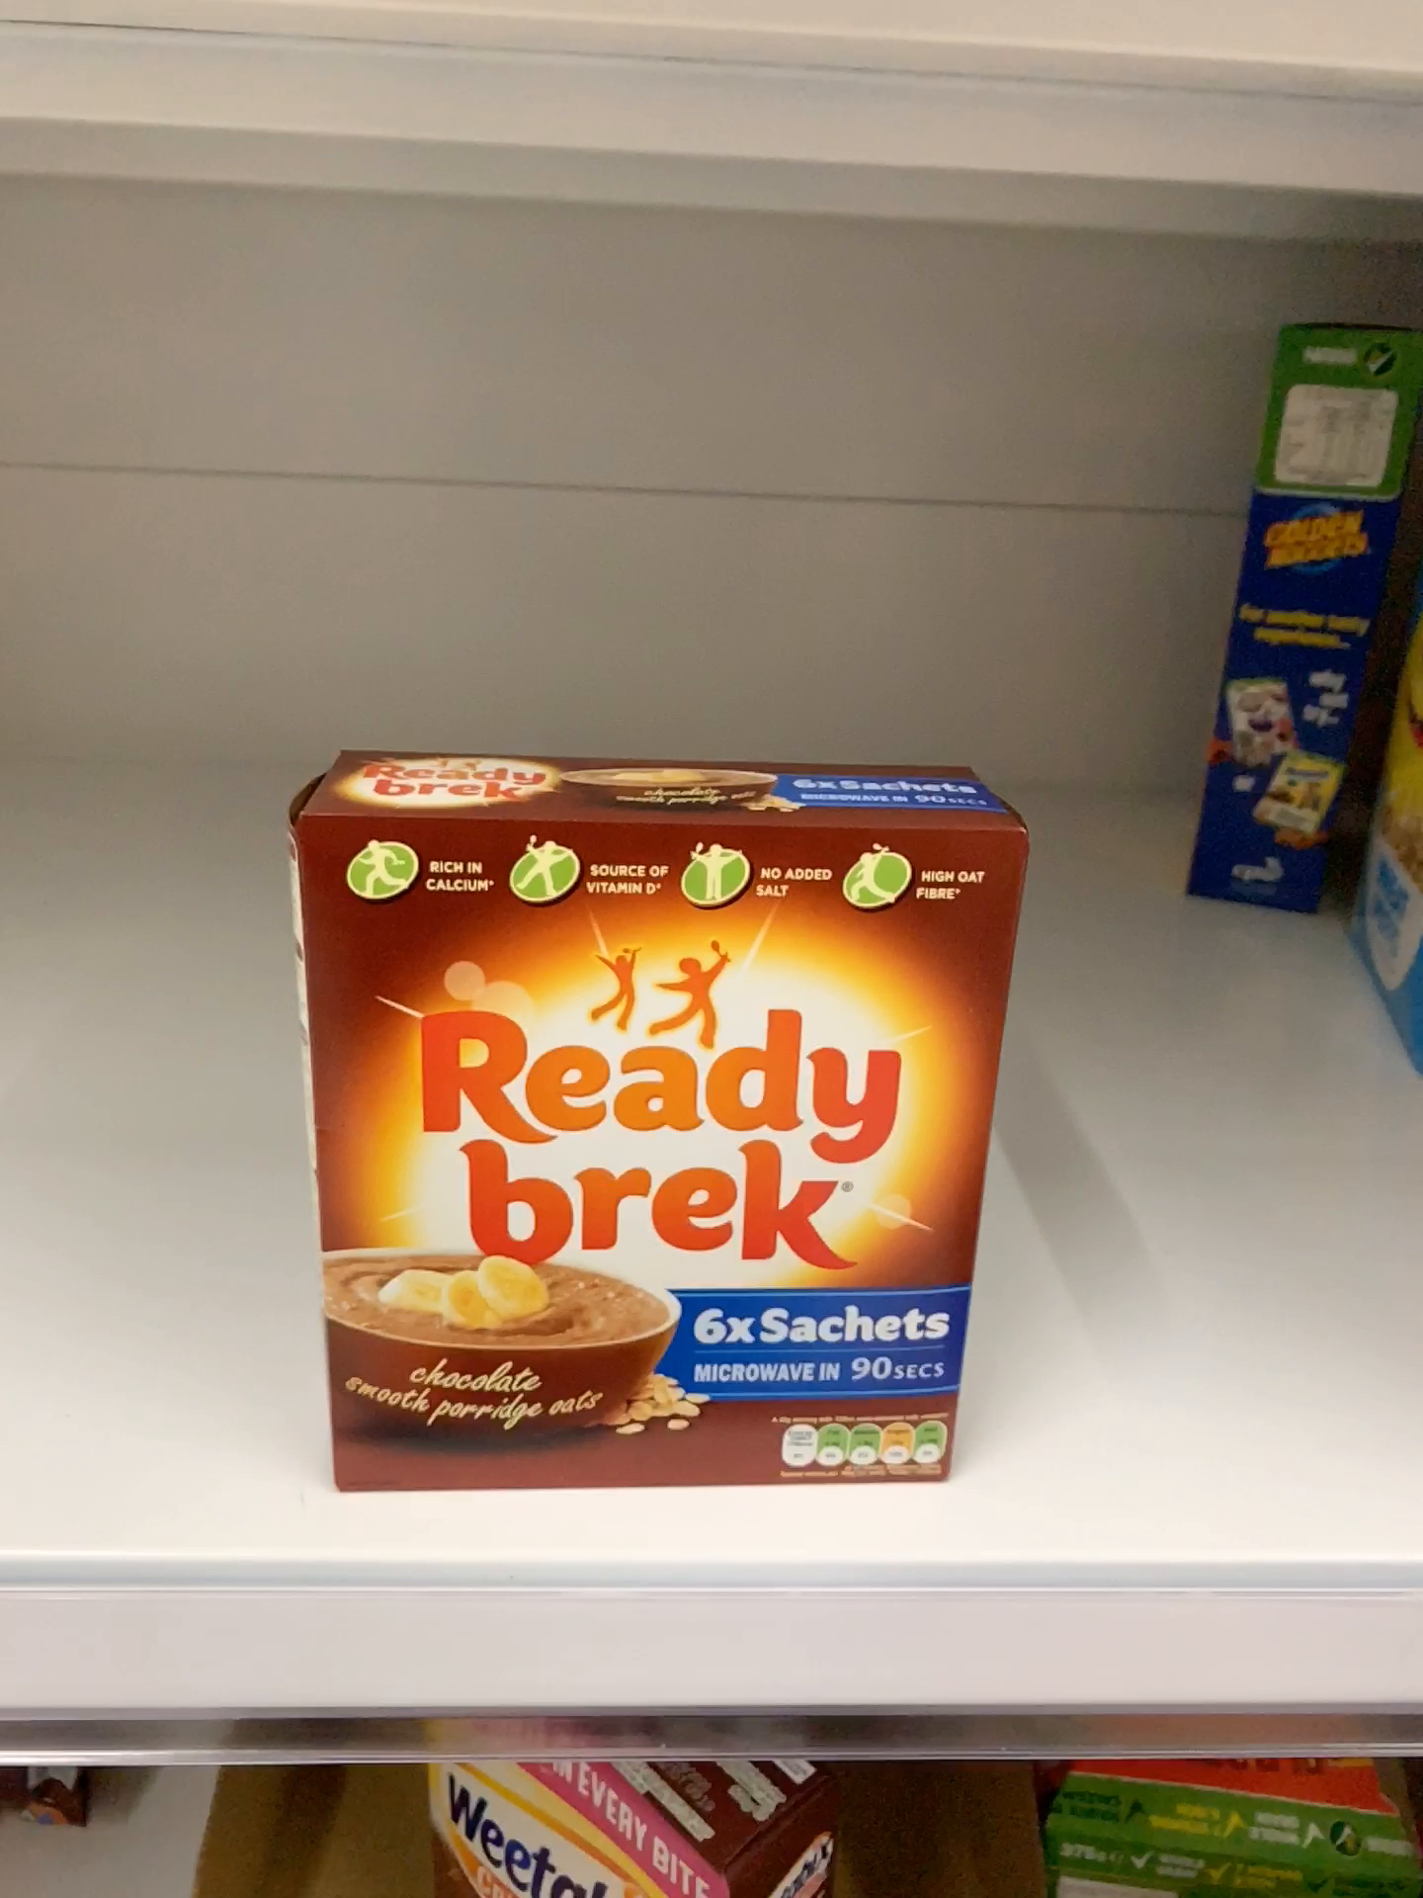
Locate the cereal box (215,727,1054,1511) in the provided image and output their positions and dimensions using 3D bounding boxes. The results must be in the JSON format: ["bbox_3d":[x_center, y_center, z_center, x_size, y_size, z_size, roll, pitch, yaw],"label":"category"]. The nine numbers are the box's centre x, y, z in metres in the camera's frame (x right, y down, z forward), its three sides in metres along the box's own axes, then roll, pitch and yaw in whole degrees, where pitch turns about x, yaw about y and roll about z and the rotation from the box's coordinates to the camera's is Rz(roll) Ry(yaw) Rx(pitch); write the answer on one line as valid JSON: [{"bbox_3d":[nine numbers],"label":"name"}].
[{"bbox_3d":[-0.021,0.045,0.379,0.180,0.189,0.060,1,21,-5],"label":"cereal box"}]
